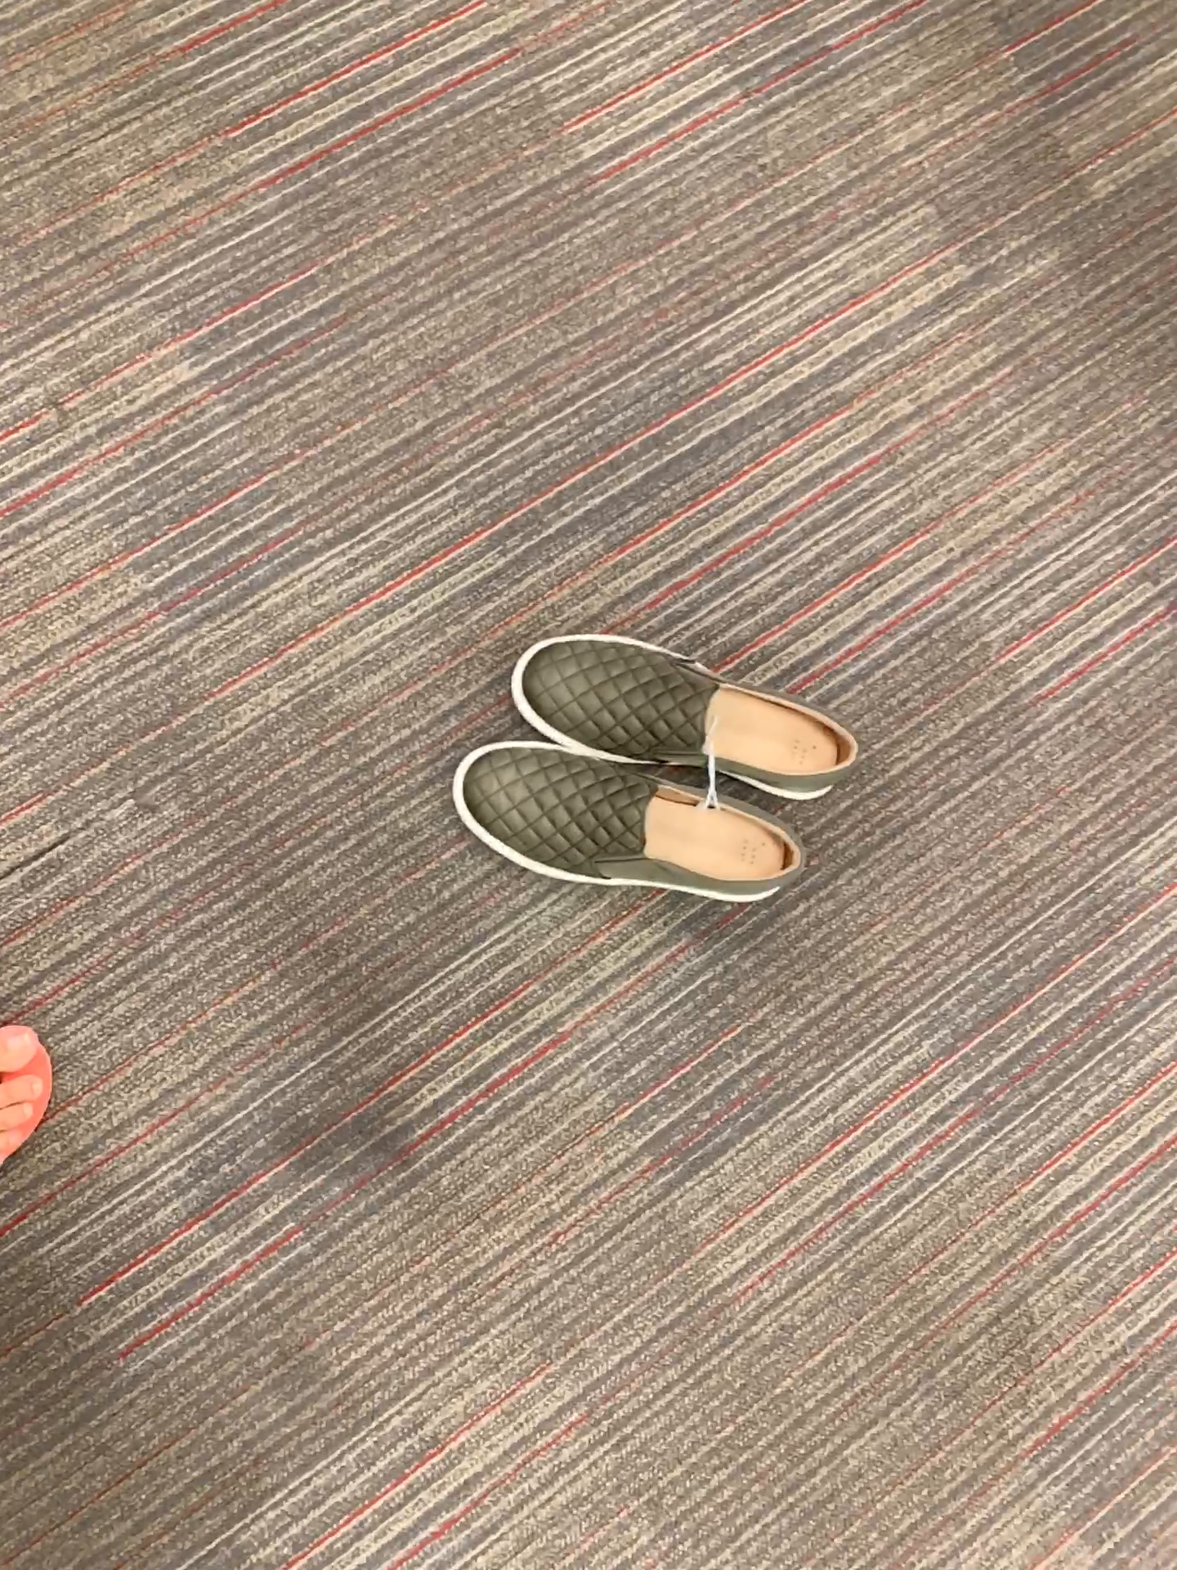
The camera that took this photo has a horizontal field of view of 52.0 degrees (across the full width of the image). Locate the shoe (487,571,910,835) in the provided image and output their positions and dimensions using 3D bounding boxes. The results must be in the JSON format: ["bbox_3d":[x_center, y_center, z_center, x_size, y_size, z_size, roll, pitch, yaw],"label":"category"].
[{"bbox_3d":[0.079,-0.056,0.943,0.290,0.130,0.100,18,83,-7],"label":"shoe"}]

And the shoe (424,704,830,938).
[{"bbox_3d":[0.025,0.033,0.953,0.290,0.110,0.100,16,83,-7],"label":"shoe"}]
